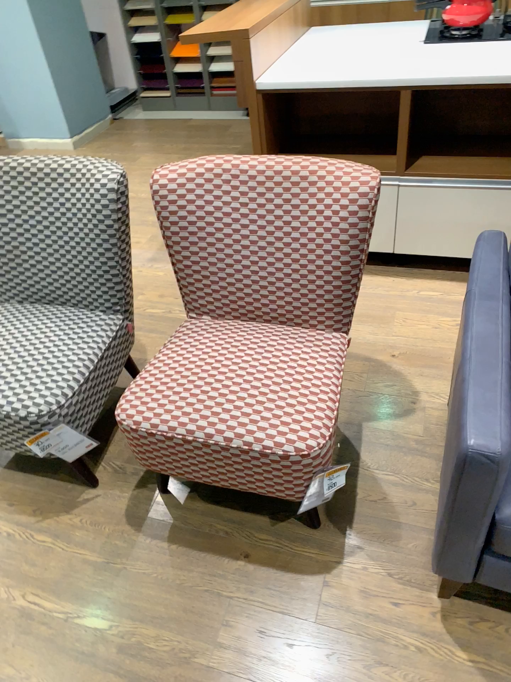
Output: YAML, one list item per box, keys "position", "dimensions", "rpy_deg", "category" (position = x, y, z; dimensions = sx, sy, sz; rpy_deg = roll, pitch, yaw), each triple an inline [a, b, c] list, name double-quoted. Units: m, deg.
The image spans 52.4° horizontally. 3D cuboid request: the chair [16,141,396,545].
- position: [-0.026, -0.011, 1.457]
  dimensions: [0.701, 0.866, 0.612]
  rpy_deg: [7, 42, 17]
  category: "chair"
